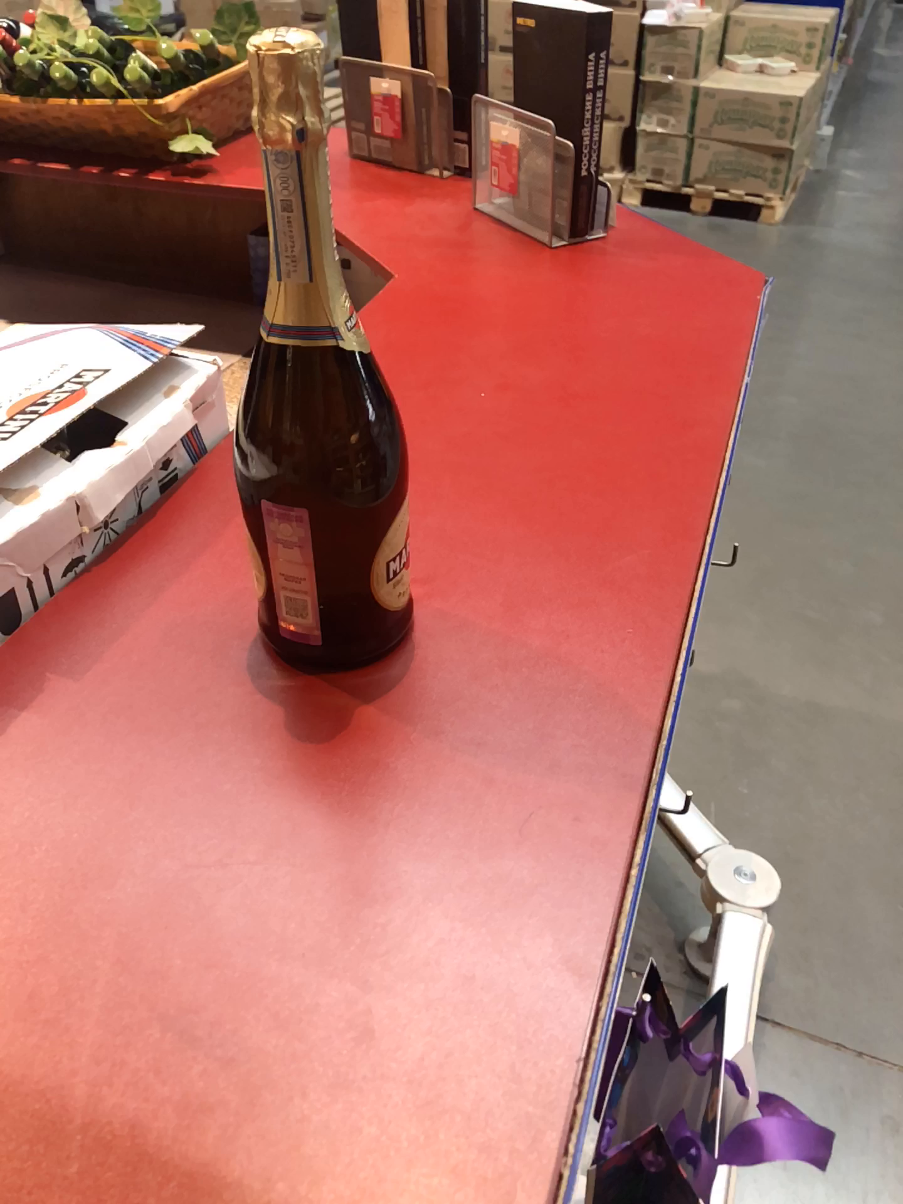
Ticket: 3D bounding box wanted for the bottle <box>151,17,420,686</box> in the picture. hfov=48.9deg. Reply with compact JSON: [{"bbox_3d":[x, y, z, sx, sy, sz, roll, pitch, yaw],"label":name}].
[{"bbox_3d":[-0.065,-0.107,0.491,0.089,0.302,0.100,3,37,3],"label":"bottle"}]
